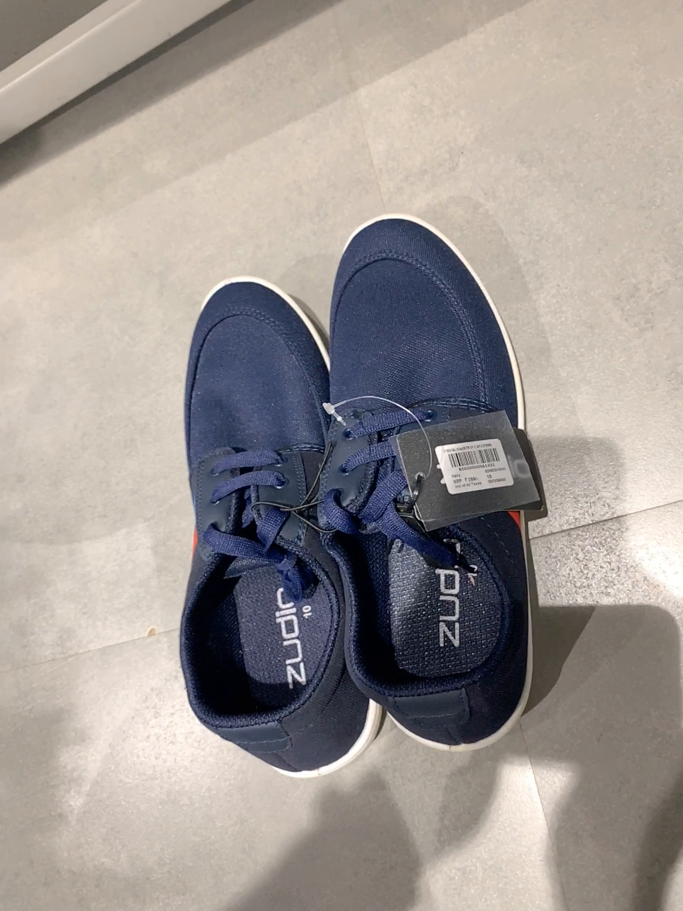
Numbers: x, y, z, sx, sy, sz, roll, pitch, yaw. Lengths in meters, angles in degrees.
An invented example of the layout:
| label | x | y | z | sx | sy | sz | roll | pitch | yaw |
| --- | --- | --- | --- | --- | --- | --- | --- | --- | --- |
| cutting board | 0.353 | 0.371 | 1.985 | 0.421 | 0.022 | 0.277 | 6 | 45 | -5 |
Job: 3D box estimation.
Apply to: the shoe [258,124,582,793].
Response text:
| label | x | y | z | sx | sy | sz | roll | pitch | yaw |
| --- | --- | --- | --- | --- | --- | --- | --- | --- | --- |
| shoe | 0.041 | 0.003 | 0.382 | 0.120 | 0.100 | 0.310 | -10 | 76 | 20 |

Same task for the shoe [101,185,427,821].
| label | x | y | z | sx | sy | sz | roll | pitch | yaw |
| --- | --- | --- | --- | --- | --- | --- | --- | --- | --- |
| shoe | -0.048 | 0.025 | 0.406 | 0.120 | 0.100 | 0.310 | -13 | 75 | 19 |
